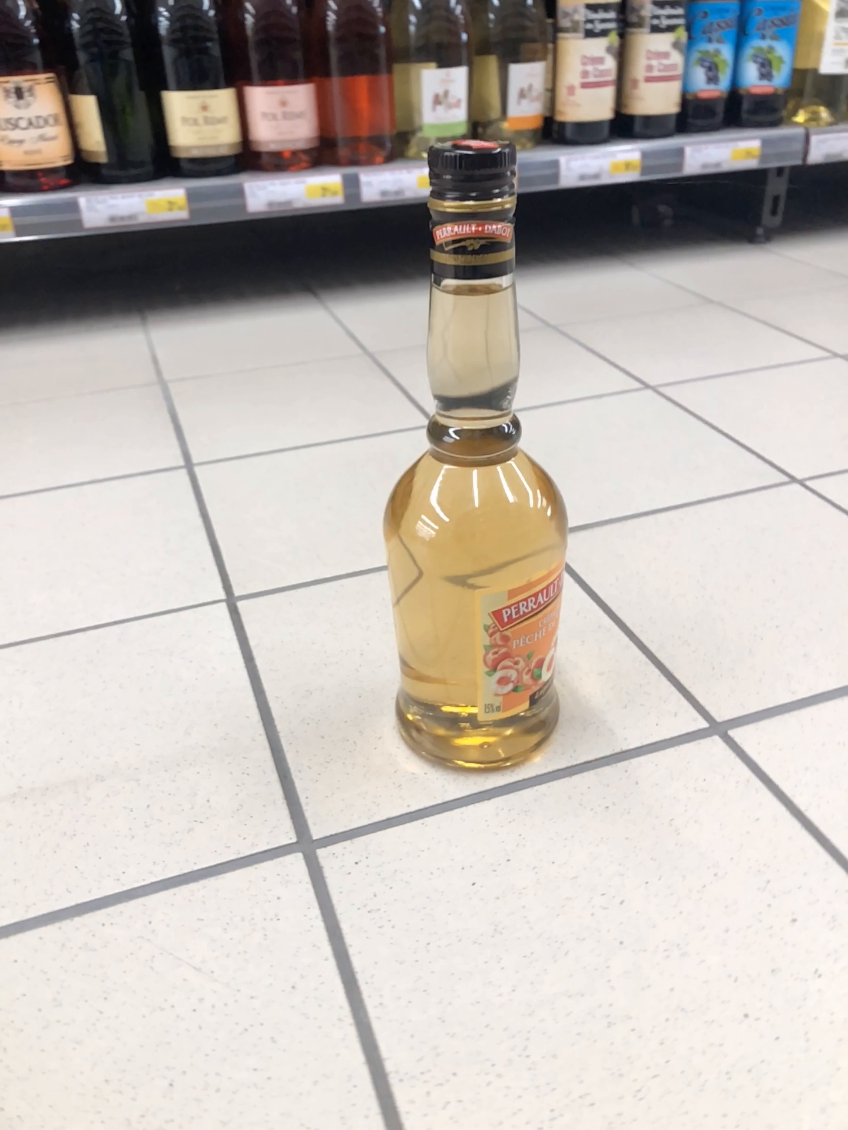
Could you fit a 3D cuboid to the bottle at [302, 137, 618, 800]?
[{"bbox_3d":[0.019,-0.035,0.386,0.080,0.249,0.081,-2,30,1],"label":"bottle"}]
